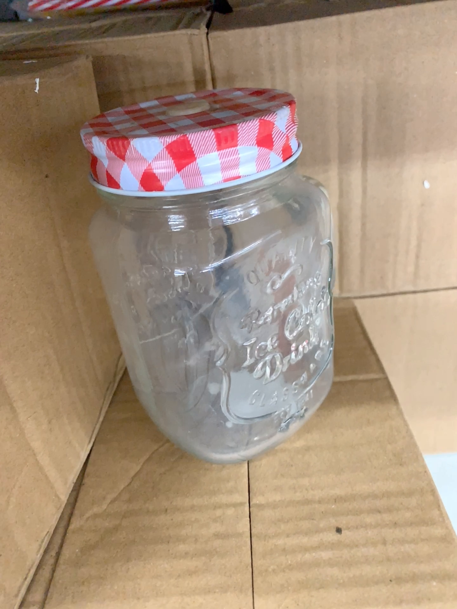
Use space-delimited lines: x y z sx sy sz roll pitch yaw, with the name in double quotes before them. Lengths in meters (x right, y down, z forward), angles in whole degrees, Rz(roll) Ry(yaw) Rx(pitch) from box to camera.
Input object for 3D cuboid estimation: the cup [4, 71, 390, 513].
"cup" -0.004 -0.014 0.186 0.100 0.119 0.080 -28 34 -25
